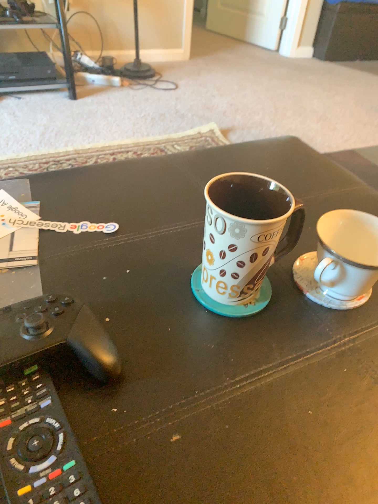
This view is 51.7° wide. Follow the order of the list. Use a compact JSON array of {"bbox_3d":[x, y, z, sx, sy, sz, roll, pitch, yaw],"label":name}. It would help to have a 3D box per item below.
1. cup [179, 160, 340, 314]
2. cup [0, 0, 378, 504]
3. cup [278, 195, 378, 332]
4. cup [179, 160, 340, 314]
[{"bbox_3d":[0.063,-0.018,0.397,0.120,0.109,0.080,-13,43,-20],"label":"cup"},{"bbox_3d":[0.063,-0.018,0.397,39.270,9.444,0.298,-13,43,-20],"label":"cup"},{"bbox_3d":[0.170,0.007,0.402,0.110,0.070,0.090,-22,47,-29],"label":"cup"},{"bbox_3d":[0.063,-0.018,0.397,0.120,0.109,0.080,-13,43,-20],"label":"cup"}]
